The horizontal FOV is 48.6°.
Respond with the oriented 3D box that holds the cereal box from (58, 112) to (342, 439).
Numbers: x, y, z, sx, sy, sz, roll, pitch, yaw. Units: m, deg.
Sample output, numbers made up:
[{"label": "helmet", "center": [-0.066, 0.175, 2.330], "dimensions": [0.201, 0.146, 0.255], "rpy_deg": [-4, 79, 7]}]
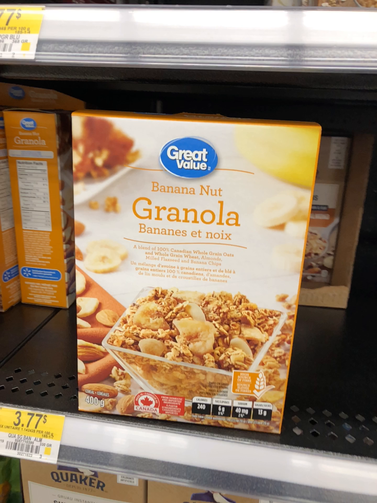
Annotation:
[{"label": "cereal box", "center": [0.004, 0.015, 0.295], "dimensions": [0.160, 0.209, 0.060], "rpy_deg": [4, 18, 7]}]
